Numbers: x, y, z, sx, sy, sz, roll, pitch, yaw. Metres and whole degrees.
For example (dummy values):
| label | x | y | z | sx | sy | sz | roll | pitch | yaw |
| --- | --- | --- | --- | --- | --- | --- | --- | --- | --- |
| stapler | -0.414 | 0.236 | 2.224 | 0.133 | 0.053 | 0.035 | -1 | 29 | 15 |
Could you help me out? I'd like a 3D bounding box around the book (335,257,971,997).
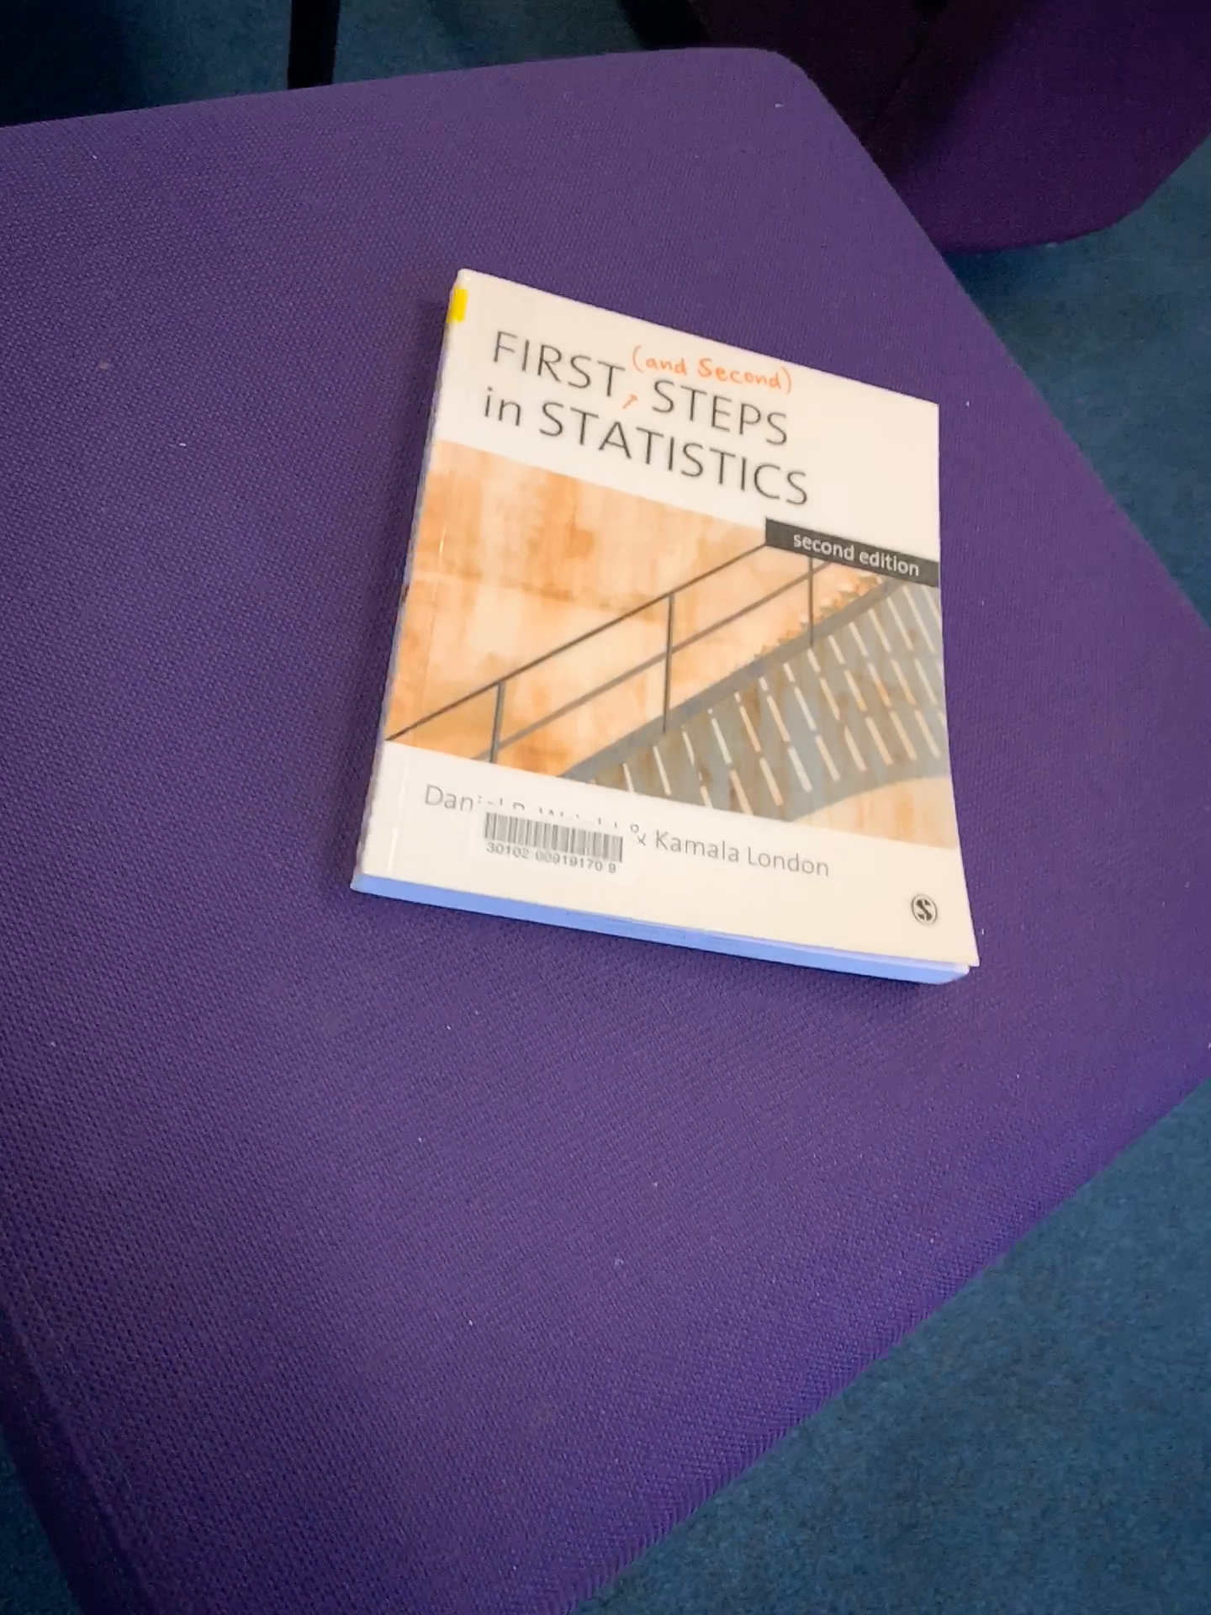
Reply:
| label | x | y | z | sx | sy | sz | roll | pitch | yaw |
| --- | --- | --- | --- | --- | --- | --- | --- | --- | --- |
| book | 0.025 | -0.065 | 0.411 | 0.188 | 0.022 | 0.230 | 11 | 63 | -14 |
